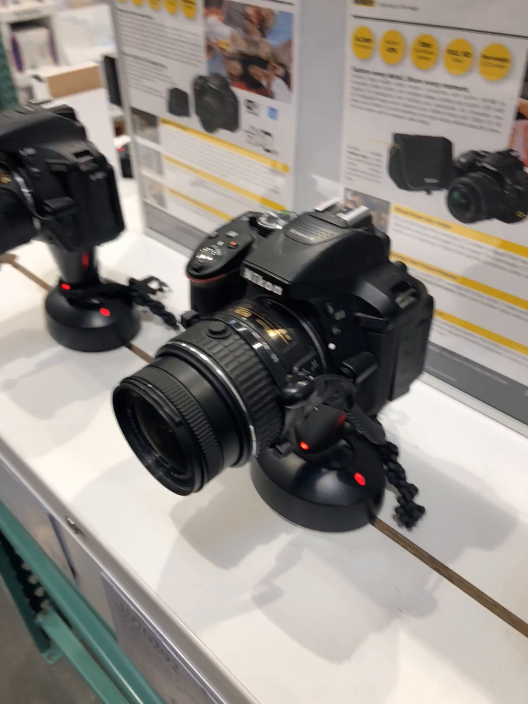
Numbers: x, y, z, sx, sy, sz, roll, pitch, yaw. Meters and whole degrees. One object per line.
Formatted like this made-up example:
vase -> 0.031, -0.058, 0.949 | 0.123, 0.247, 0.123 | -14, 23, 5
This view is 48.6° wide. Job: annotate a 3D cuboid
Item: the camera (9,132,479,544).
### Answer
camera -> -0.004, -0.024, 0.274 | 0.131, 0.089, 0.151 | 29, 48, 32
